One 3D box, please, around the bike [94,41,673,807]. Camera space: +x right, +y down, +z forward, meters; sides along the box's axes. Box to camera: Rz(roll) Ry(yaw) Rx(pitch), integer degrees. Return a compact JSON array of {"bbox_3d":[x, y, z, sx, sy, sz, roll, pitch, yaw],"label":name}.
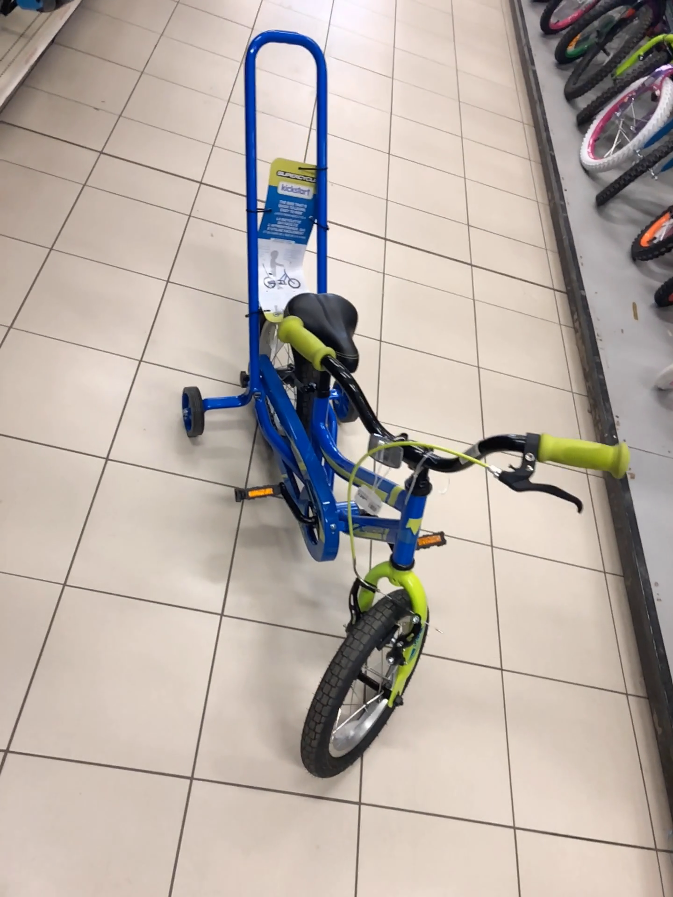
[{"bbox_3d":[-0.071,-0.051,1.245,0.538,0.763,0.957,3,51,-19],"label":"bike"}]
